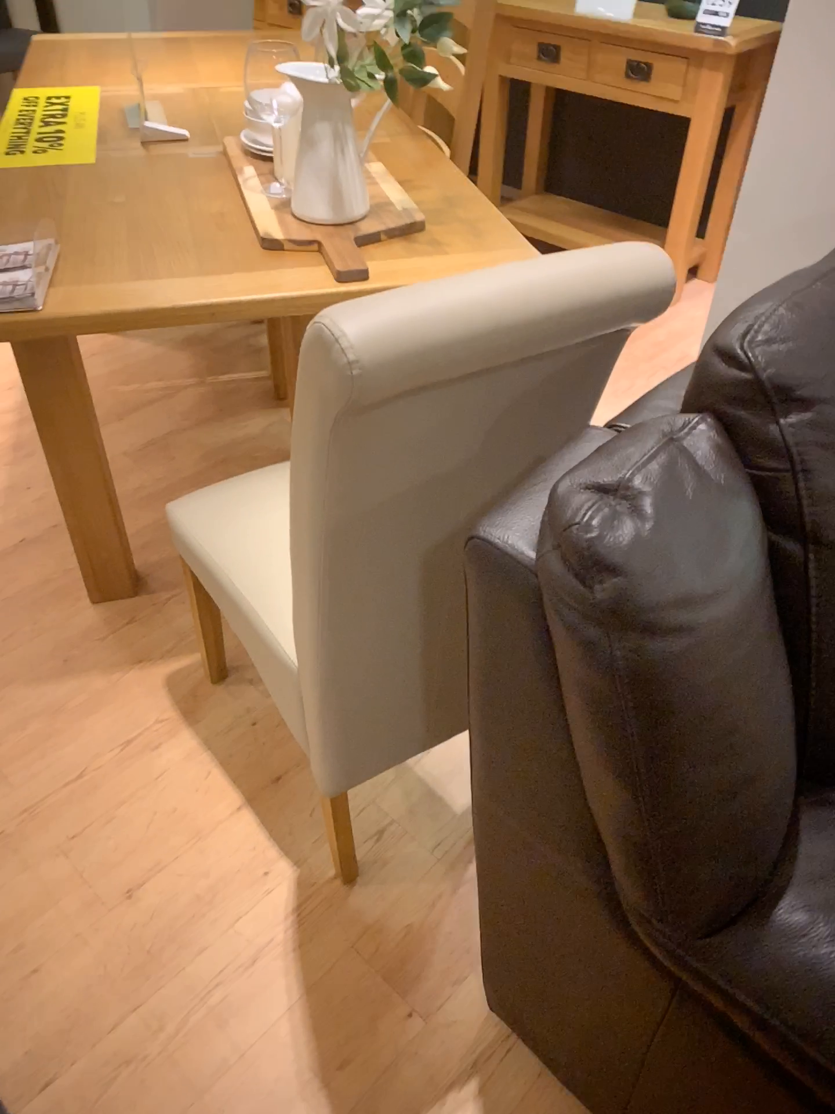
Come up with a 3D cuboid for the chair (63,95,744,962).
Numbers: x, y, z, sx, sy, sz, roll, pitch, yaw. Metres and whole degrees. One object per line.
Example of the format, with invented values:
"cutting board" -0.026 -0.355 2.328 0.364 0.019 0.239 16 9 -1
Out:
"chair" -0.071 -0.040 1.209 0.476 0.943 0.638 -20 45 -23
